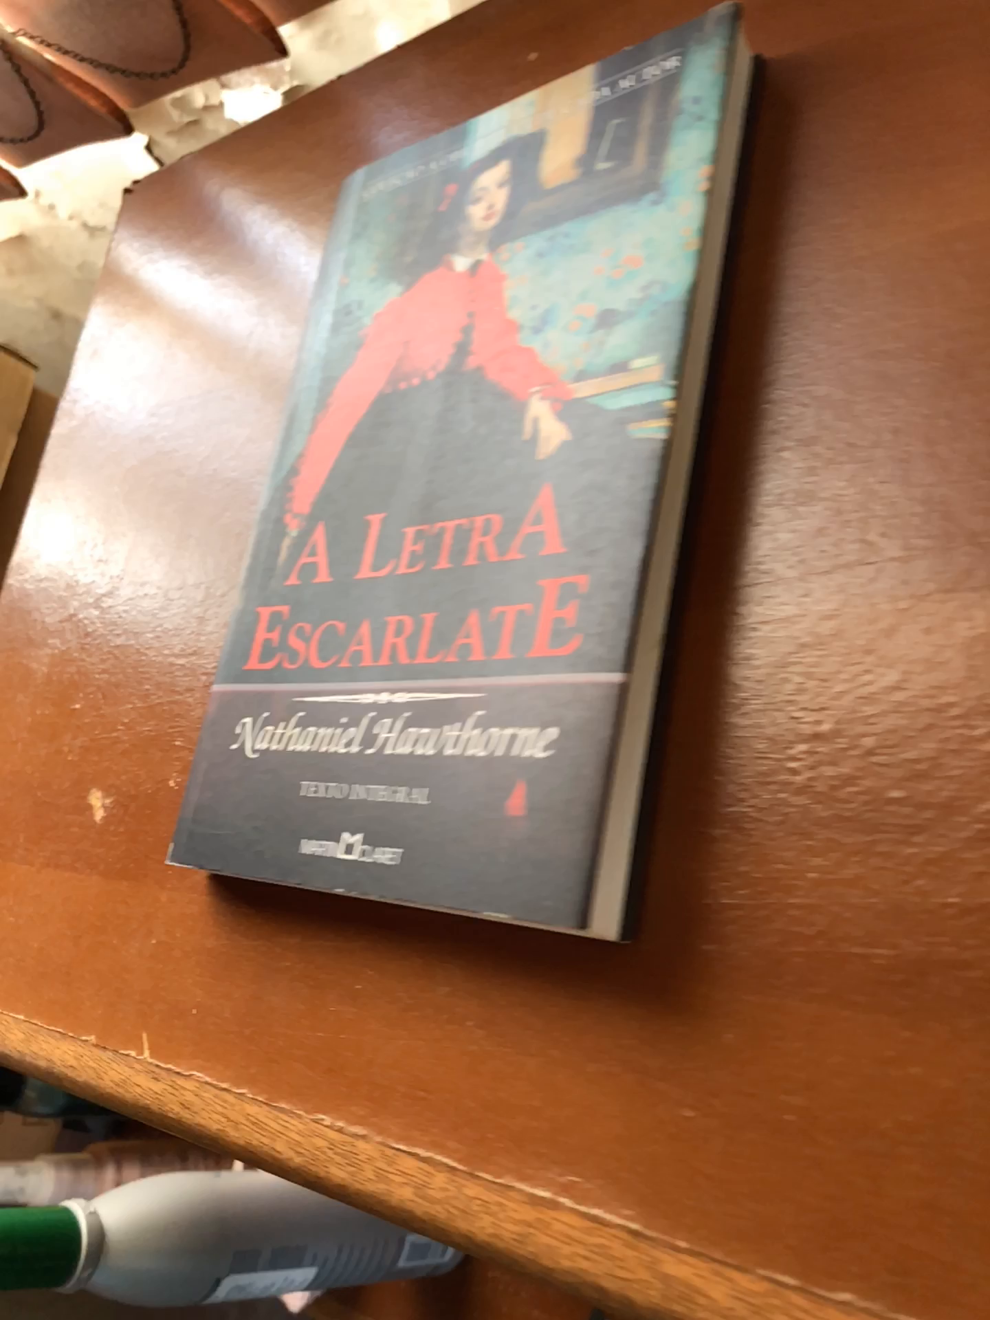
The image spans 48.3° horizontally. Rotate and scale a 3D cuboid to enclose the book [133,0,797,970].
[{"bbox_3d":[-0.009,-0.036,0.209,0.112,0.015,0.166,-2,69,41],"label":"book"}]
